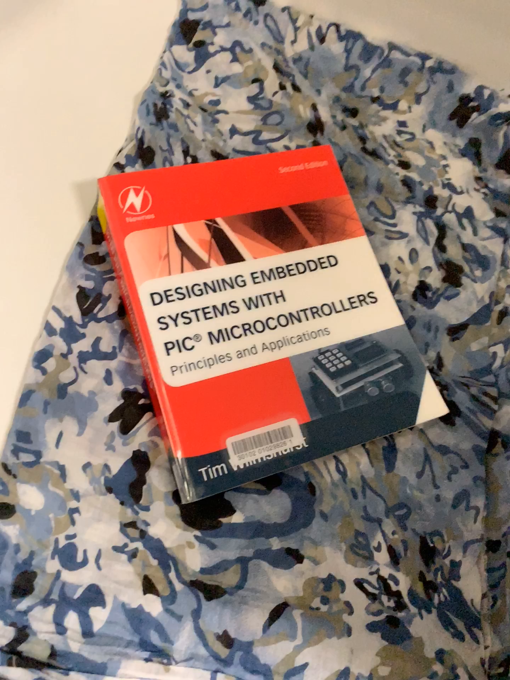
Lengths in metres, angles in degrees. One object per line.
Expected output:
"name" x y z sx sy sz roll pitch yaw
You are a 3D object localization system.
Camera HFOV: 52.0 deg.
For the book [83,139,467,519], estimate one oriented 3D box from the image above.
"book" 0.010 -0.022 0.389 0.210 0.050 0.237 -15 75 -18
